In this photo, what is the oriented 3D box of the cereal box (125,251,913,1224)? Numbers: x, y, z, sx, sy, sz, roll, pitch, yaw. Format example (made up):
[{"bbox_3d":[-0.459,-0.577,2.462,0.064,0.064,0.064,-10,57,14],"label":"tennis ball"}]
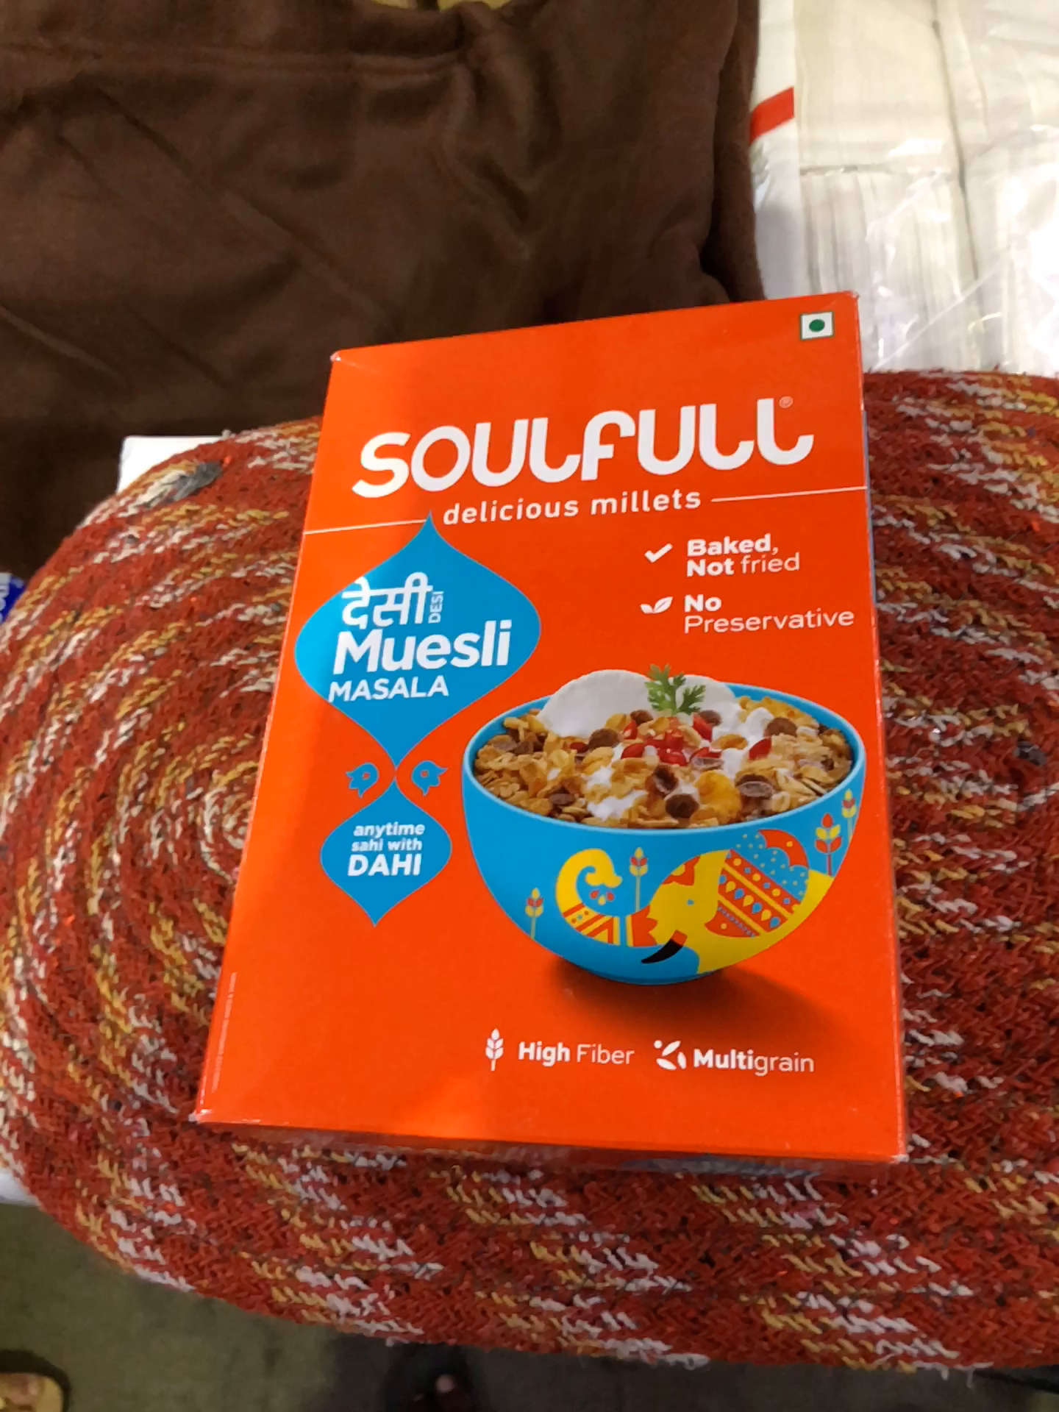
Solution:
[{"bbox_3d":[0.006,0.001,0.341,0.180,0.060,0.261,-3,63,15],"label":"cereal box"}]
